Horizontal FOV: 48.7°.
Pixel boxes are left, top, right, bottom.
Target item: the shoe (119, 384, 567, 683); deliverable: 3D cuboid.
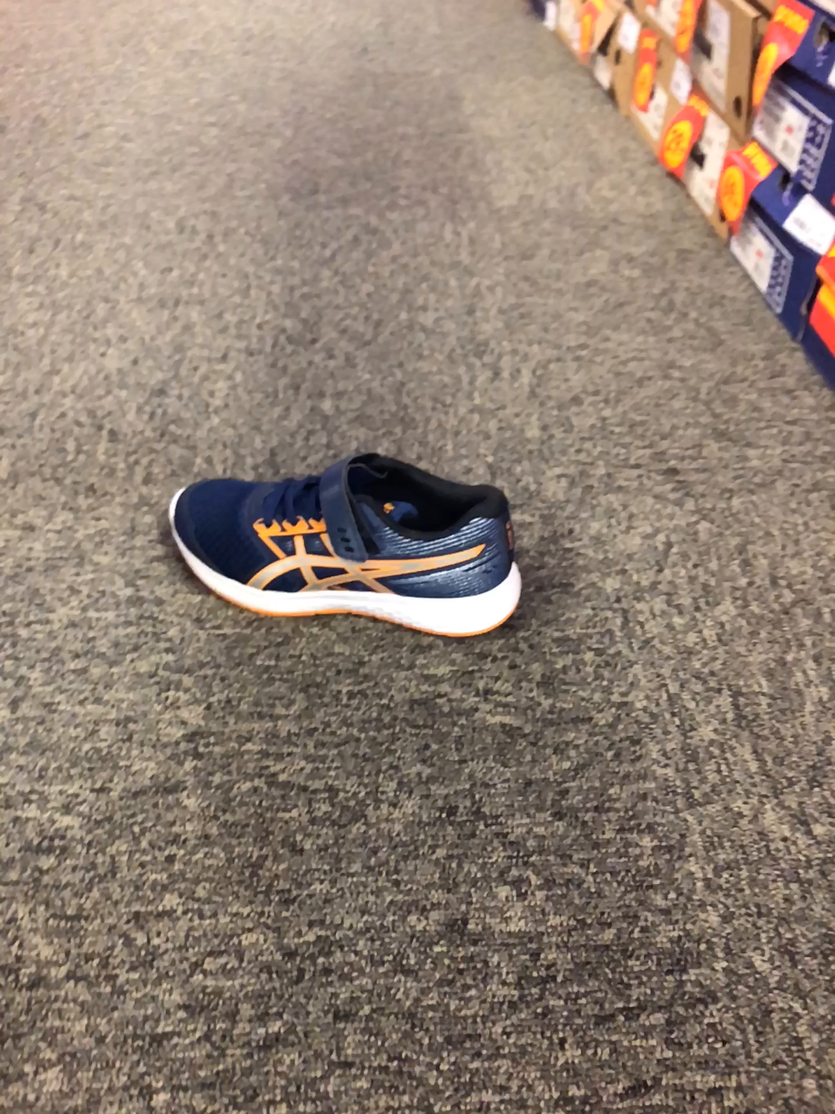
[{"bbox_3d":[-0.041,-0.017,0.553,0.235,0.099,0.091,12,43,9],"label":"shoe"}]
